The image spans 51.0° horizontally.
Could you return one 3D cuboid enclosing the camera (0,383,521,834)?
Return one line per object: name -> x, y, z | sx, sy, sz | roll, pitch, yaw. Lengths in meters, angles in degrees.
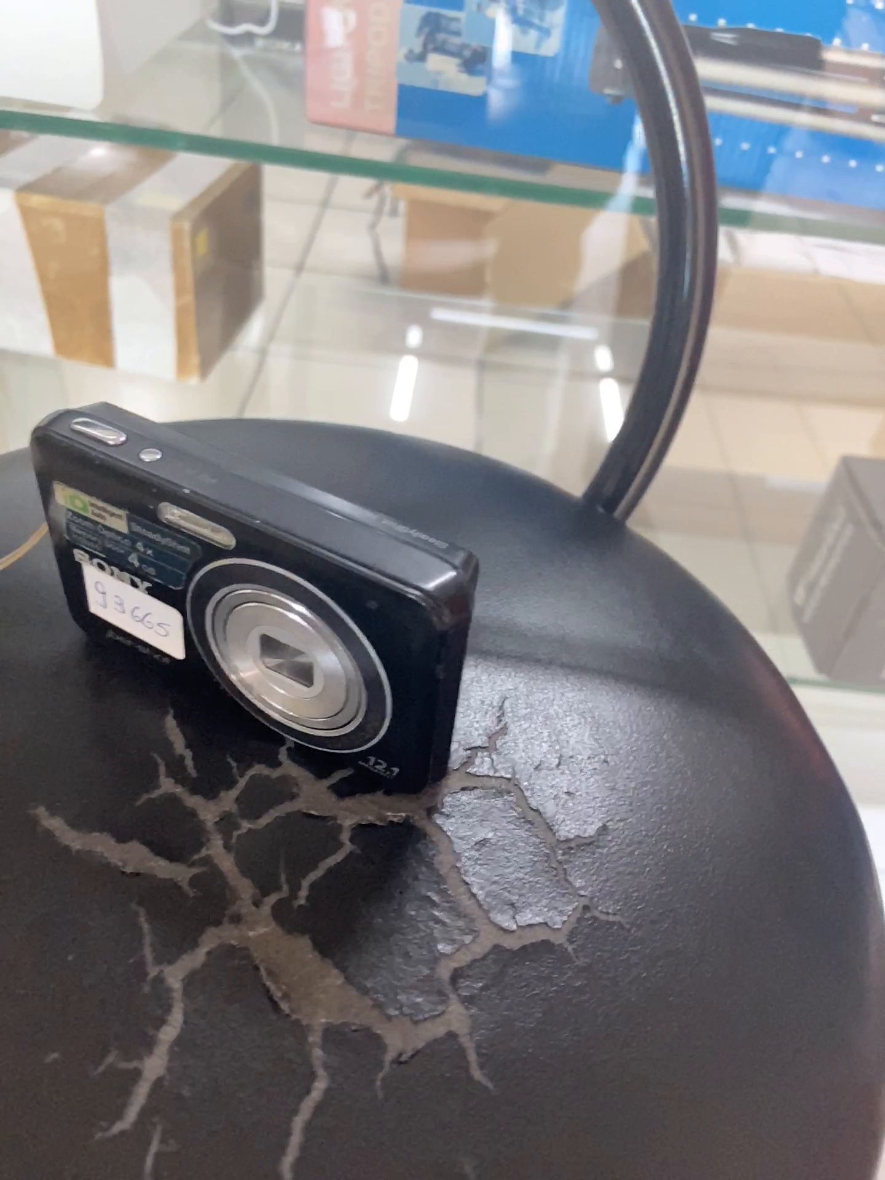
camera -> -0.042, 0.002, 0.186 | 0.110, 0.050, 0.020 | 23, 43, 18
